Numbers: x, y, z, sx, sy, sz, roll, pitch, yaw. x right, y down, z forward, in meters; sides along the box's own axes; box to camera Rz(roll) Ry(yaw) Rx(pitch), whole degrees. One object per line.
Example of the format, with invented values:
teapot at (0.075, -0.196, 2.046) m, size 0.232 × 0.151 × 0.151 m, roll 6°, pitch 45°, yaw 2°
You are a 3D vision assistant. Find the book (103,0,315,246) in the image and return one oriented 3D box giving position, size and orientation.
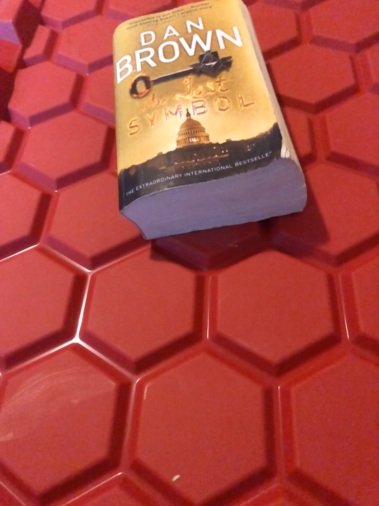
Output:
book at (0.004, -0.106, 0.311) m, size 0.122 × 0.051 × 0.183 m, roll -11°, pitch 58°, yaw 5°
